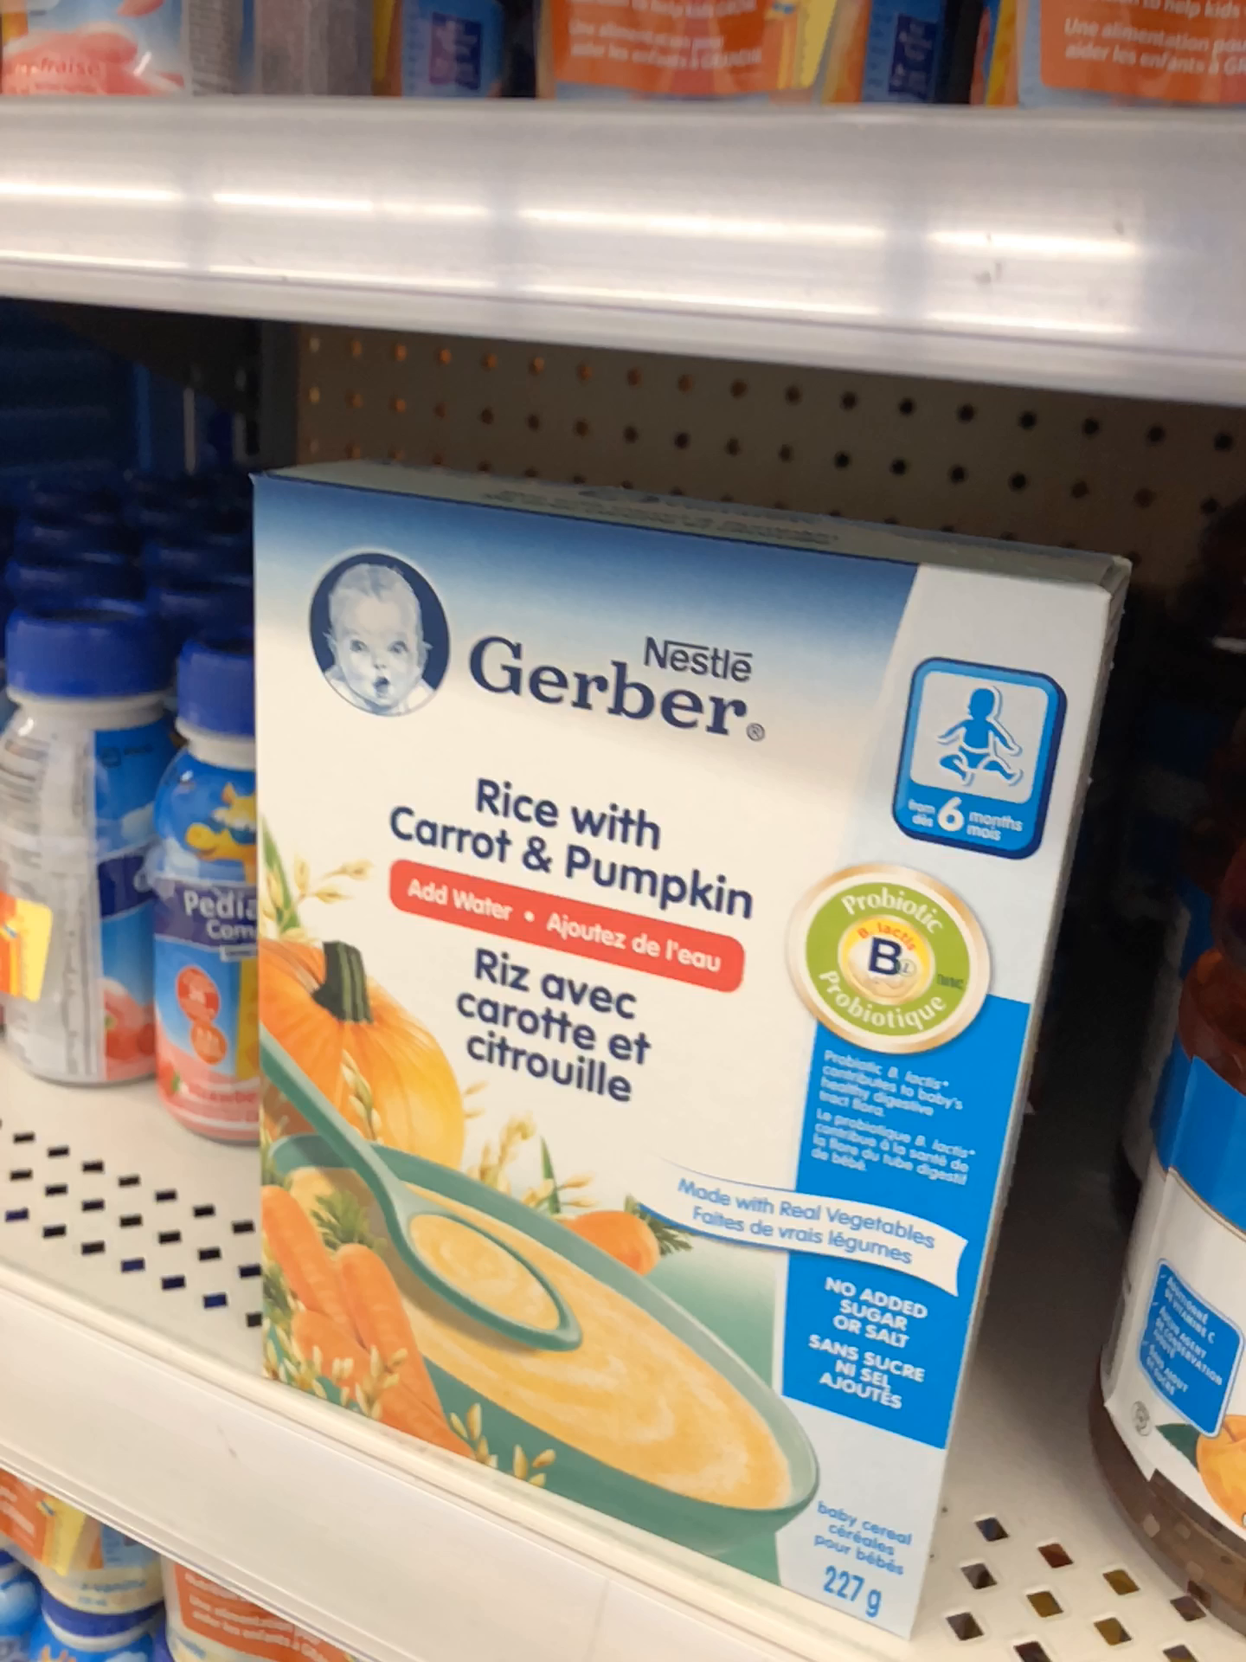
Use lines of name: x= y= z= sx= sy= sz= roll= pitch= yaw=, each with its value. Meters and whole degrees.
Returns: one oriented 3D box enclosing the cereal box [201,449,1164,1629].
cereal box: x=0.001 y=0.032 z=0.258 sx=0.150 sy=0.179 sz=0.050 roll=13 pitch=21 yaw=19
